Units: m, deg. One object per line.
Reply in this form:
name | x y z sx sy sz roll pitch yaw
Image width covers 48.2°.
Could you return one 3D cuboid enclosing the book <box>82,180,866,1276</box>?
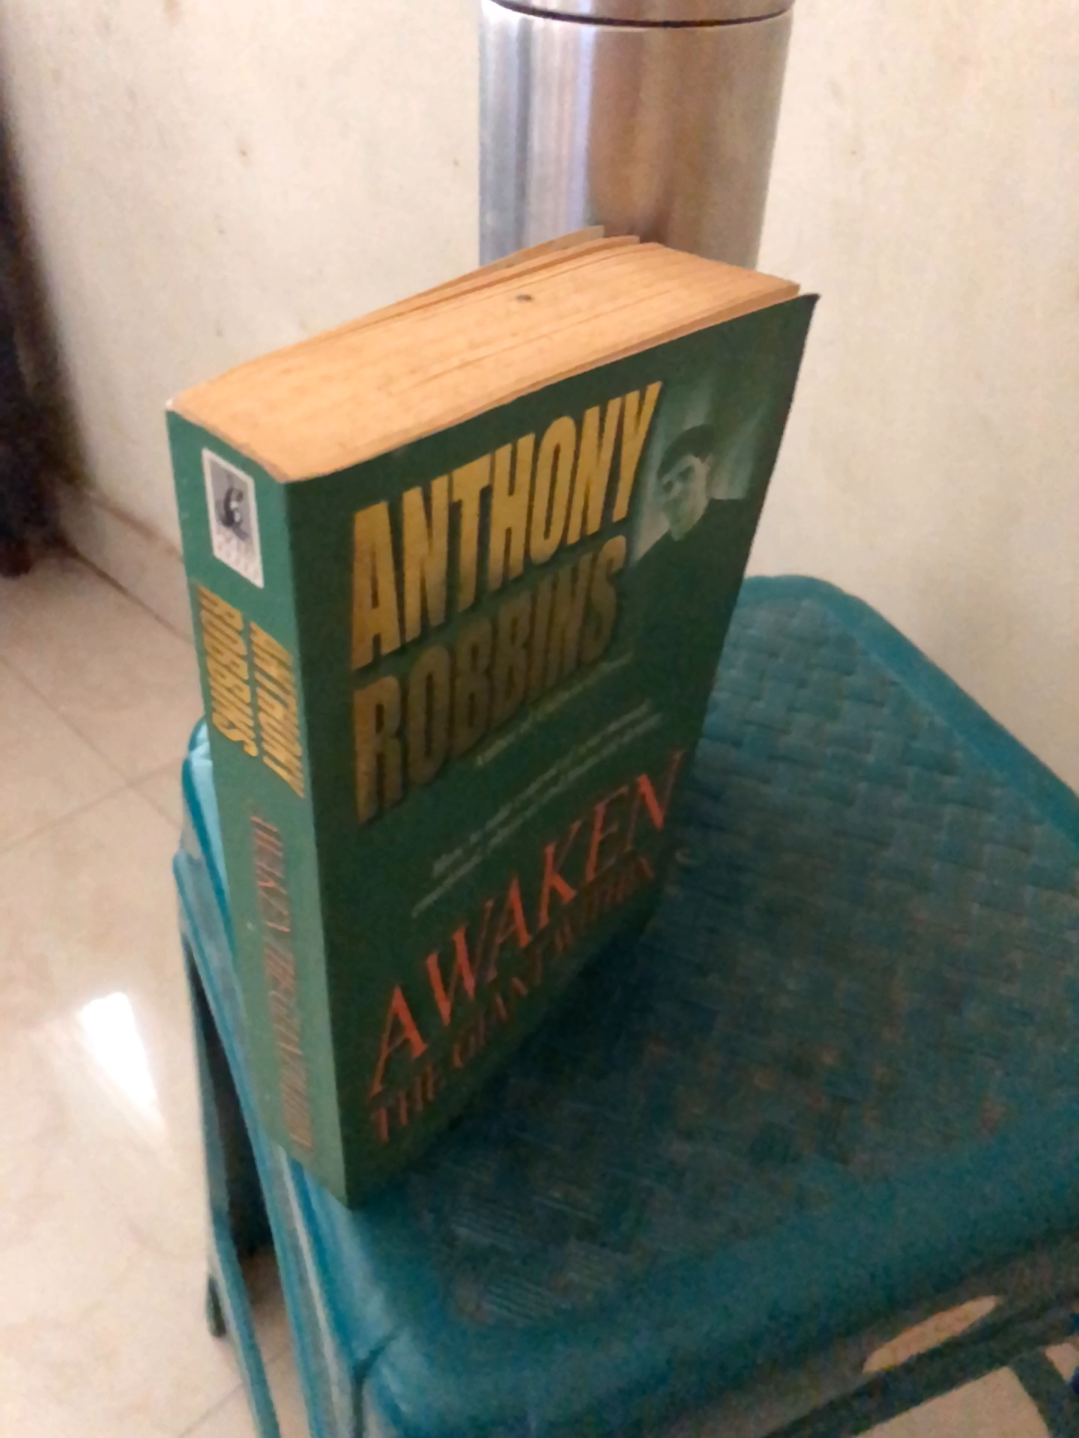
book | -0.005 0.006 0.265 0.050 0.199 0.140 29 47 27
